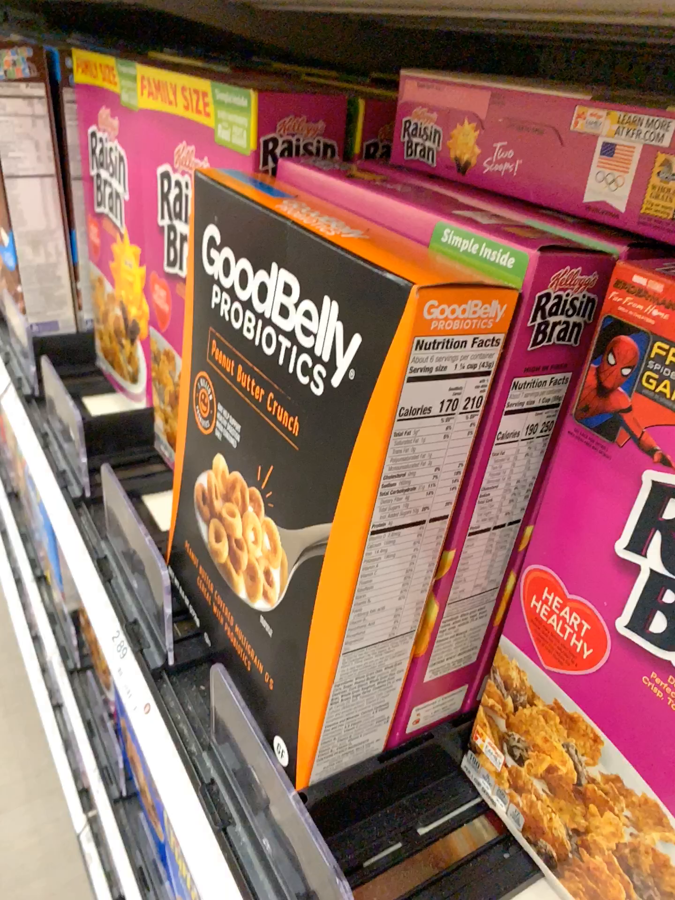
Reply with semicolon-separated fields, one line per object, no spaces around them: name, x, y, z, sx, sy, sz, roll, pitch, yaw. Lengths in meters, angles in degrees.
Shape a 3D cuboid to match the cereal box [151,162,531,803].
cereal box;-0.029;0.005;0.357;0.050;0.249;0.201;-6;31;-33
